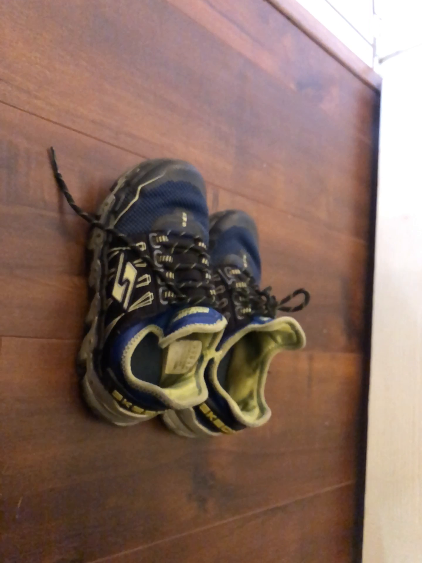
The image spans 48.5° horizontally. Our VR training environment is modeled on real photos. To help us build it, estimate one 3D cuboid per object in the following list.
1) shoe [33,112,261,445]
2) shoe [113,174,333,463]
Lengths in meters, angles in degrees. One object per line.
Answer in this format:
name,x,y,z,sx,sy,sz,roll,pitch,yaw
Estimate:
shoe,-0.046,0.006,0.364,0.100,0.119,0.210,16,74,-42
shoe,0.016,0.034,0.418,0.100,0.119,0.210,29,66,-39
